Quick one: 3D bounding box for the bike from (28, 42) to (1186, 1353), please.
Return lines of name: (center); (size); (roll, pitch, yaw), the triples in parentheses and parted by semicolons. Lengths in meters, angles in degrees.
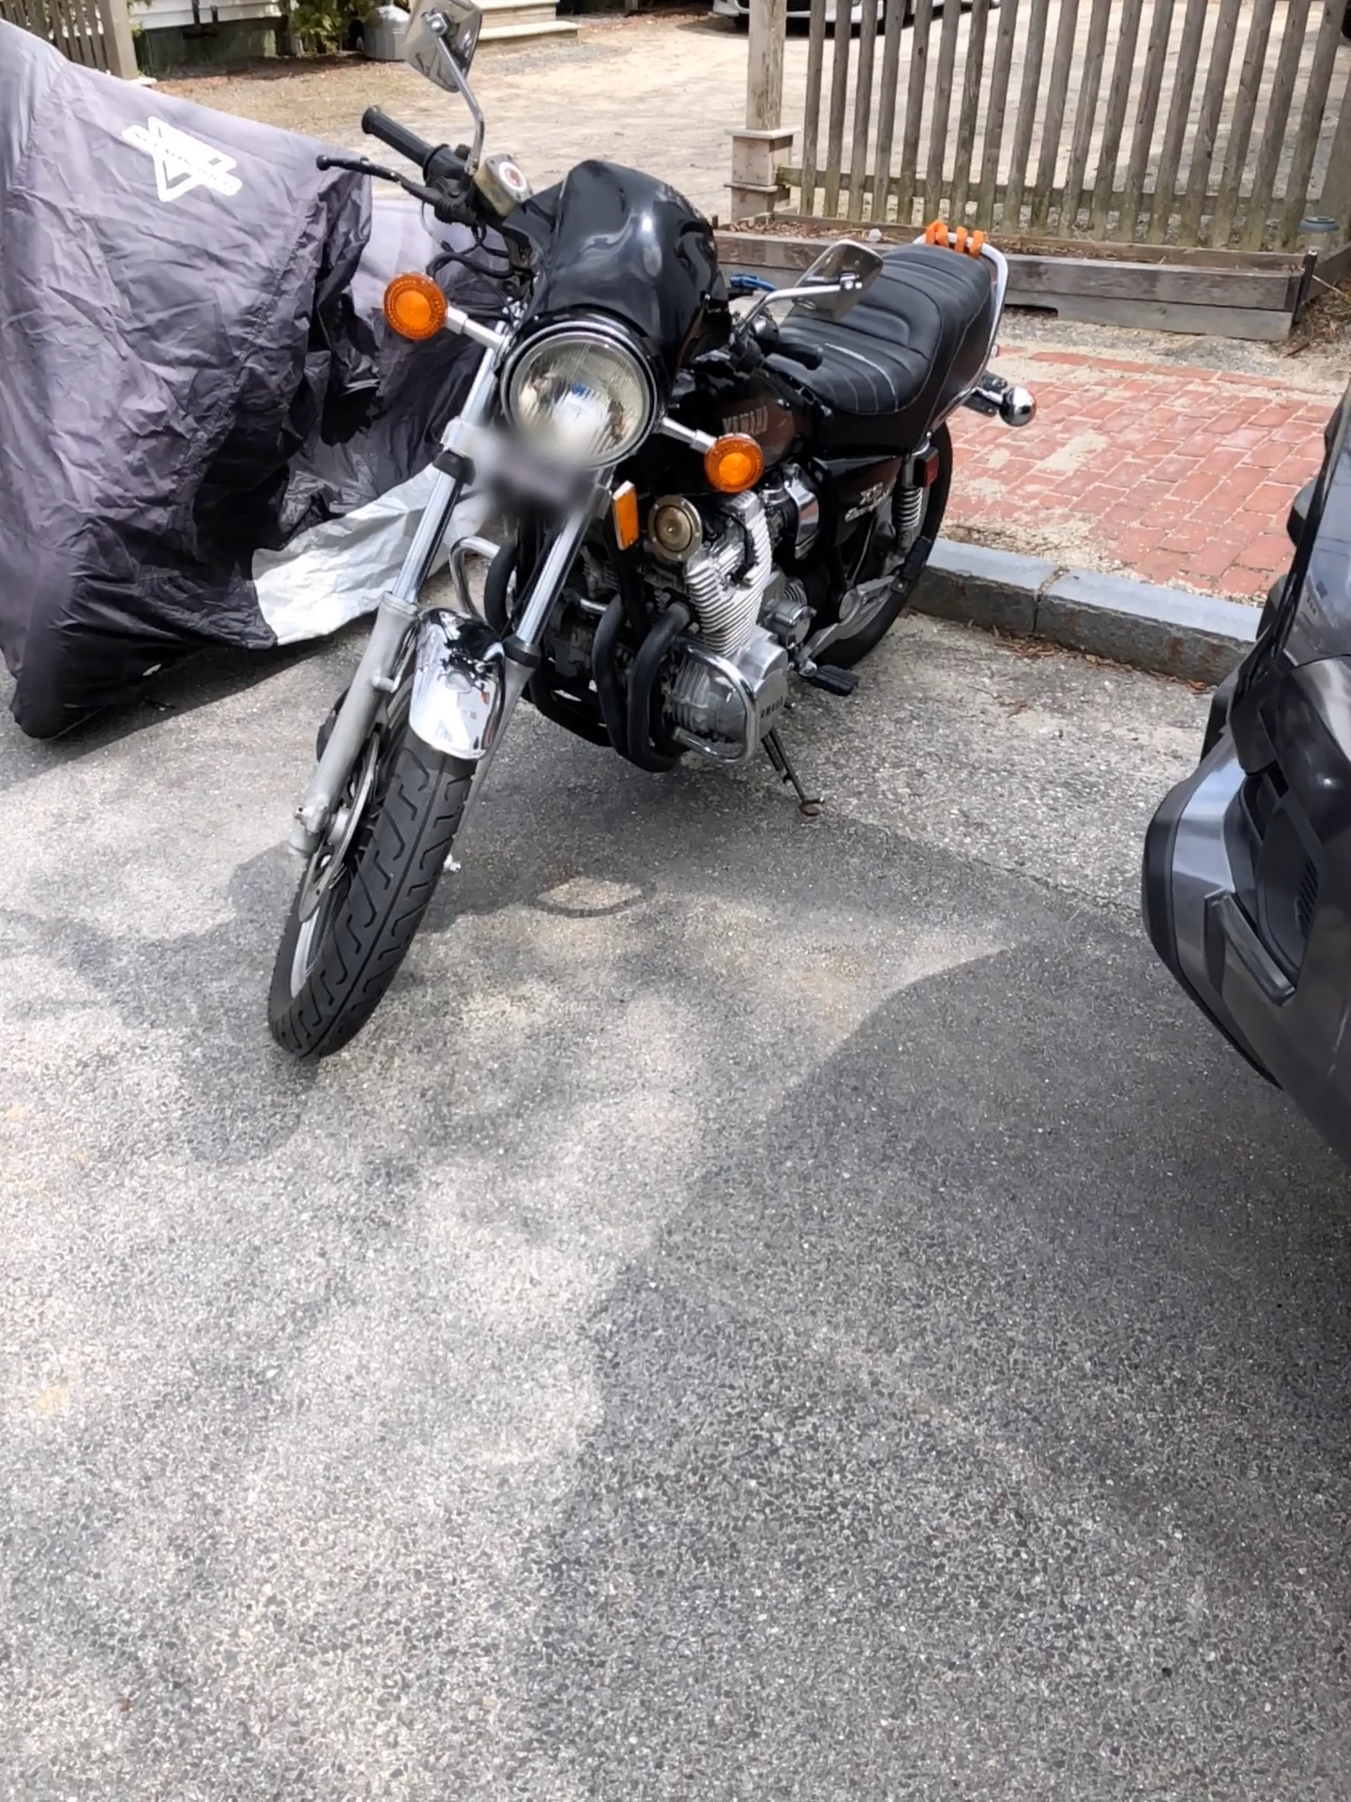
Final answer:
bike: (0.117, -0.556, 2.342); (0.709, 1.157, 1.979); (17, 40, 23)
